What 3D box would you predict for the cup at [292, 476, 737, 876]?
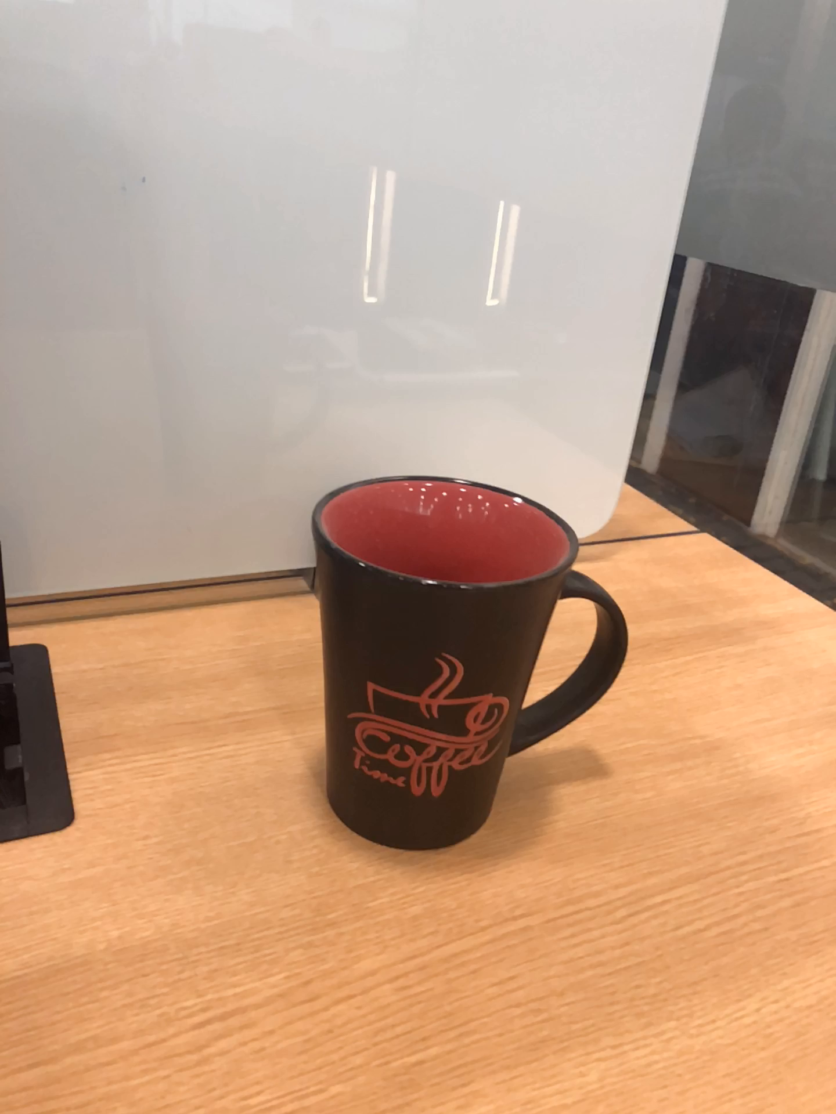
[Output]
[{"bbox_3d":[0.023,0.035,0.326,0.120,0.100,0.090,0,25,-15],"label":"cup"}]
